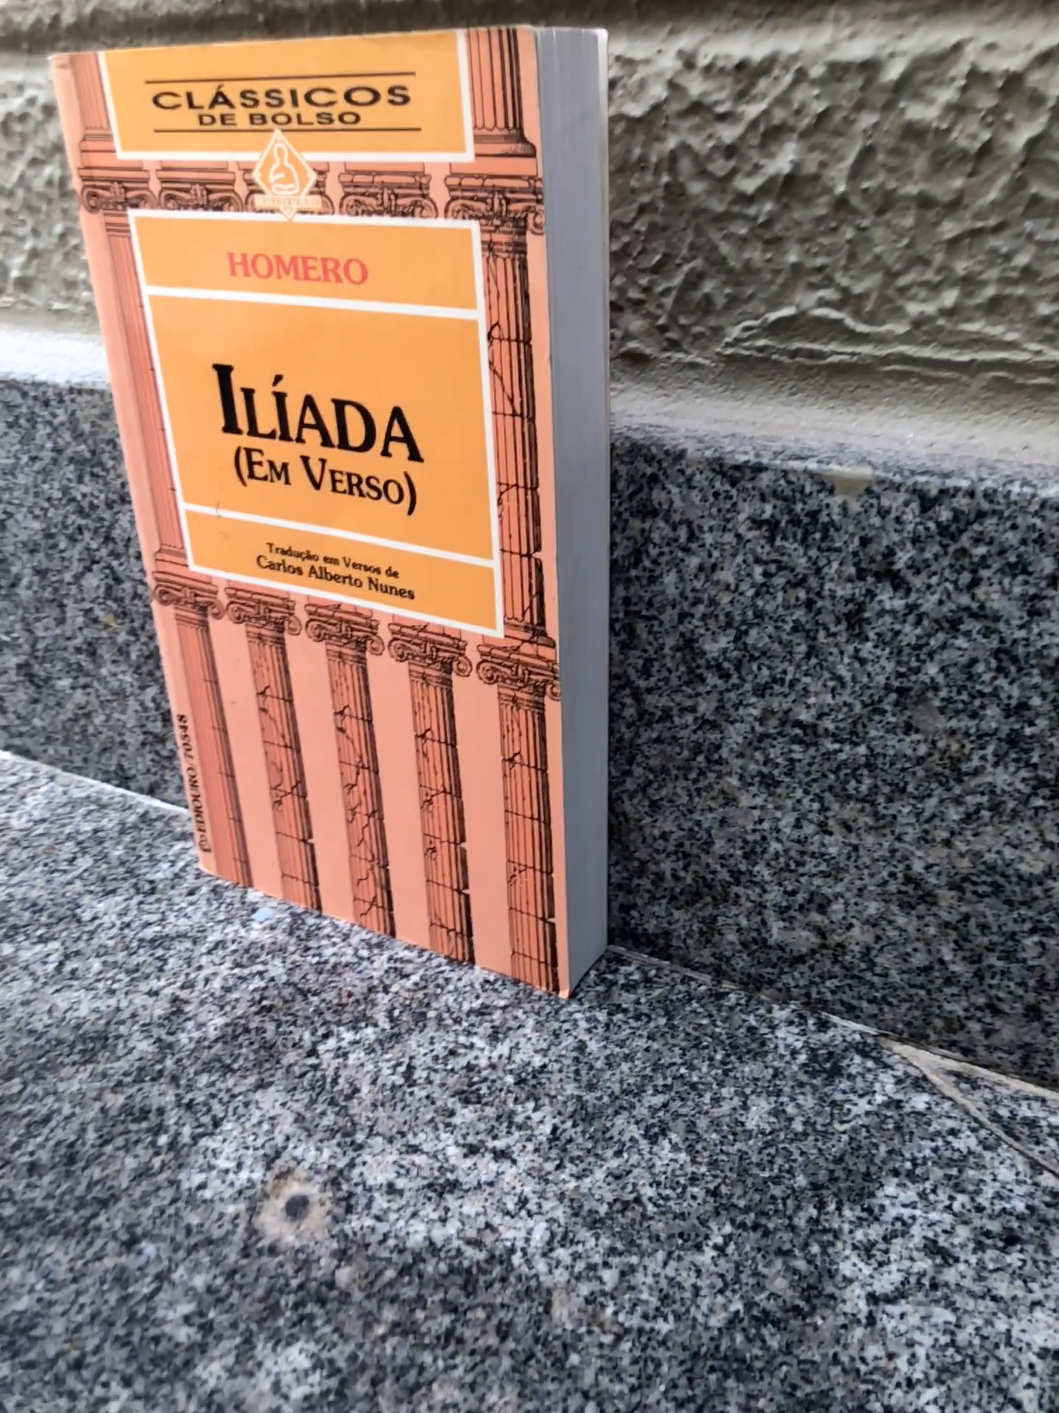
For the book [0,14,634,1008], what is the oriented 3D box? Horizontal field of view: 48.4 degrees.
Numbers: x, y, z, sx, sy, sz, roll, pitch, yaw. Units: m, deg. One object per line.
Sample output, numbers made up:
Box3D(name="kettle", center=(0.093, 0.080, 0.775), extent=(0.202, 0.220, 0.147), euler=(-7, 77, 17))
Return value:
Box3D(name="book", center=(-0.045, -0.040, 0.290), extent=(0.139, 0.218, 0.030), euler=(13, 32, 26))
